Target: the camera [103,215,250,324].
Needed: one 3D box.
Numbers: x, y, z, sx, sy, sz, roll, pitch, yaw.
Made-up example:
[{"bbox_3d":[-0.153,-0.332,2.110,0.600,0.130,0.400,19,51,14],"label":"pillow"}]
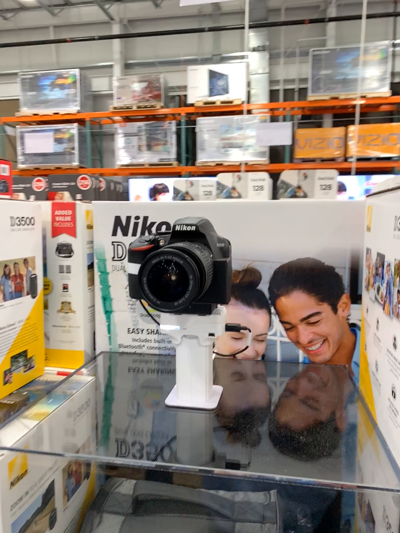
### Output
[{"bbox_3d":[-0.015,-0.006,0.461,0.130,0.100,0.150,2,7,11],"label":"camera"}]
